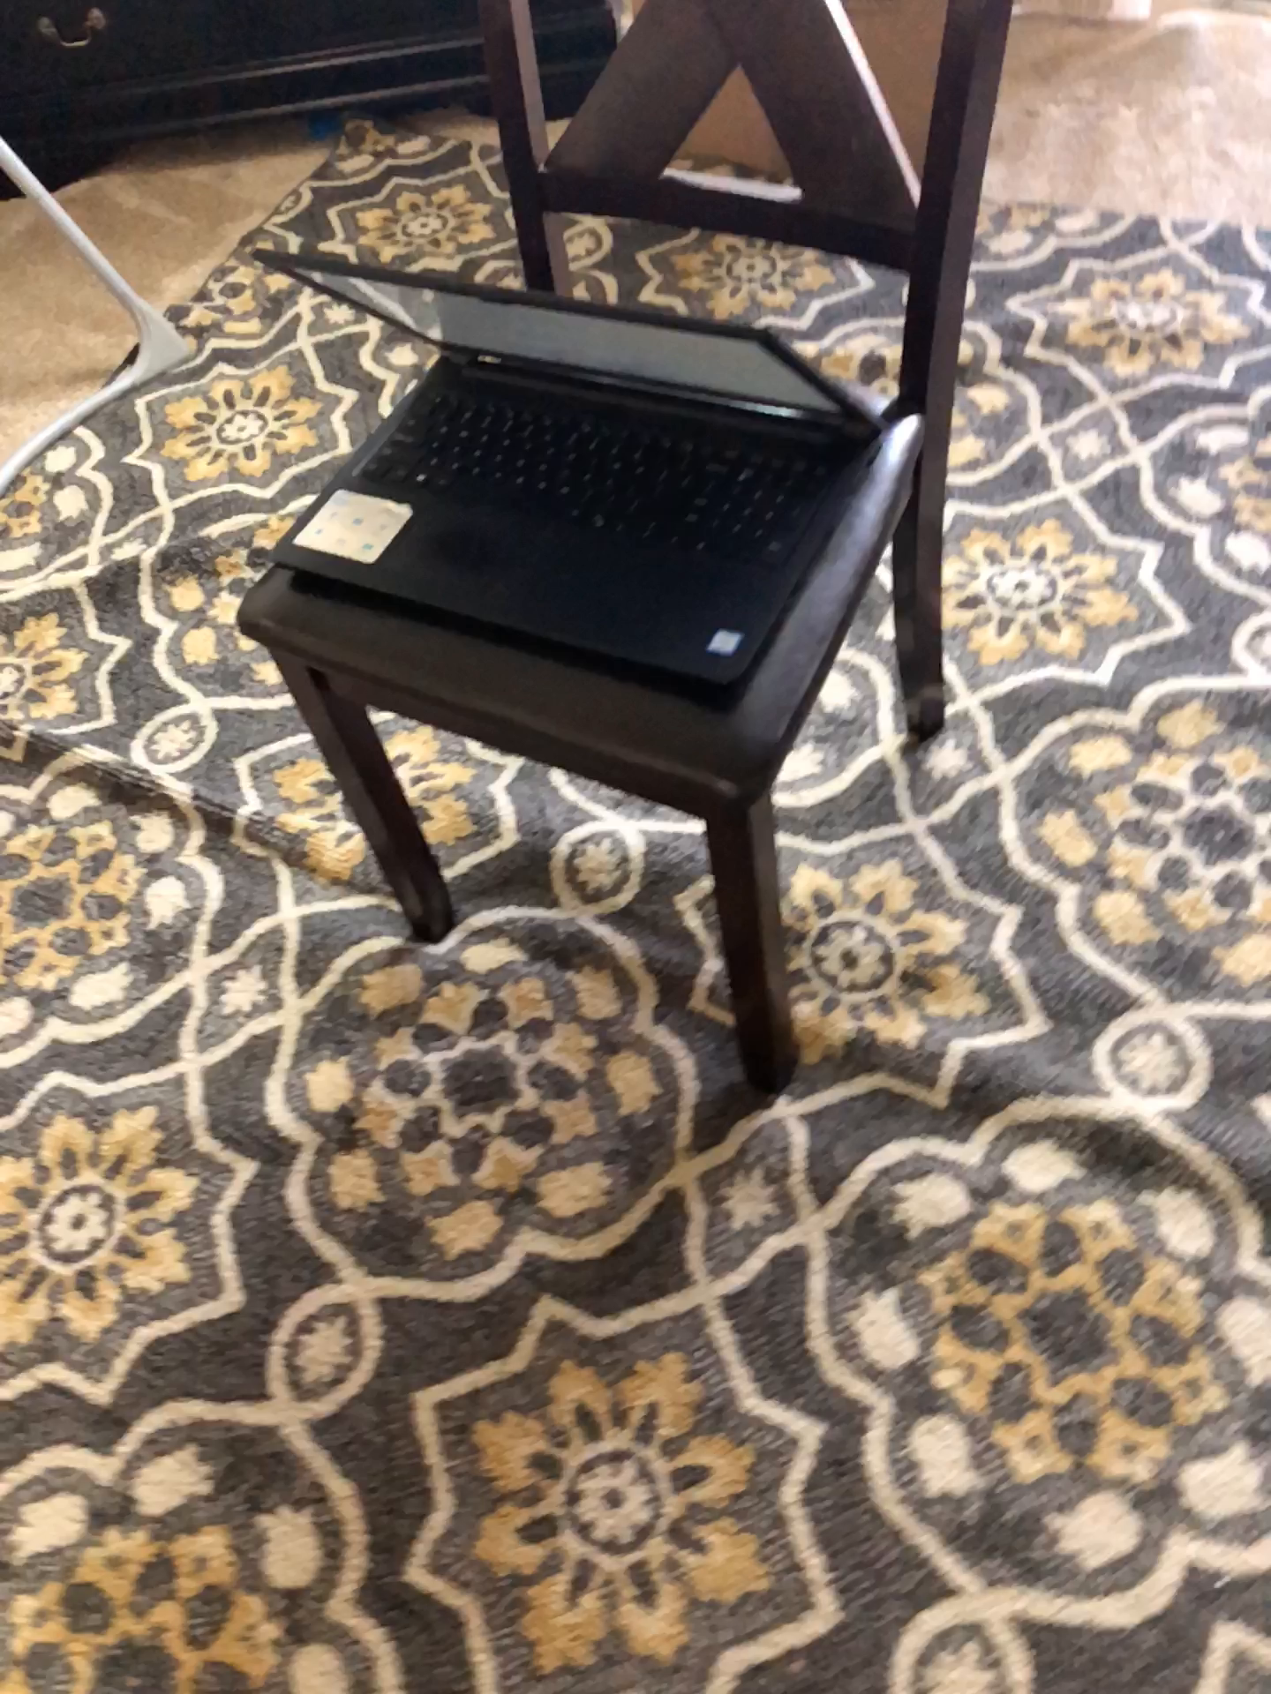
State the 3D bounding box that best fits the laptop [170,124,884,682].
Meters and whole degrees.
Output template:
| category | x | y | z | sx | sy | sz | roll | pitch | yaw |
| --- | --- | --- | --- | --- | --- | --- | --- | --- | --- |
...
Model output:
| category | x | y | z | sx | sy | sz | roll | pitch | yaw |
| --- | --- | --- | --- | --- | --- | --- | --- | --- | --- |
| laptop | -0.055 | -0.301 | 0.920 | 0.366 | 0.185 | 0.245 | 17 | 58 | 20 |
